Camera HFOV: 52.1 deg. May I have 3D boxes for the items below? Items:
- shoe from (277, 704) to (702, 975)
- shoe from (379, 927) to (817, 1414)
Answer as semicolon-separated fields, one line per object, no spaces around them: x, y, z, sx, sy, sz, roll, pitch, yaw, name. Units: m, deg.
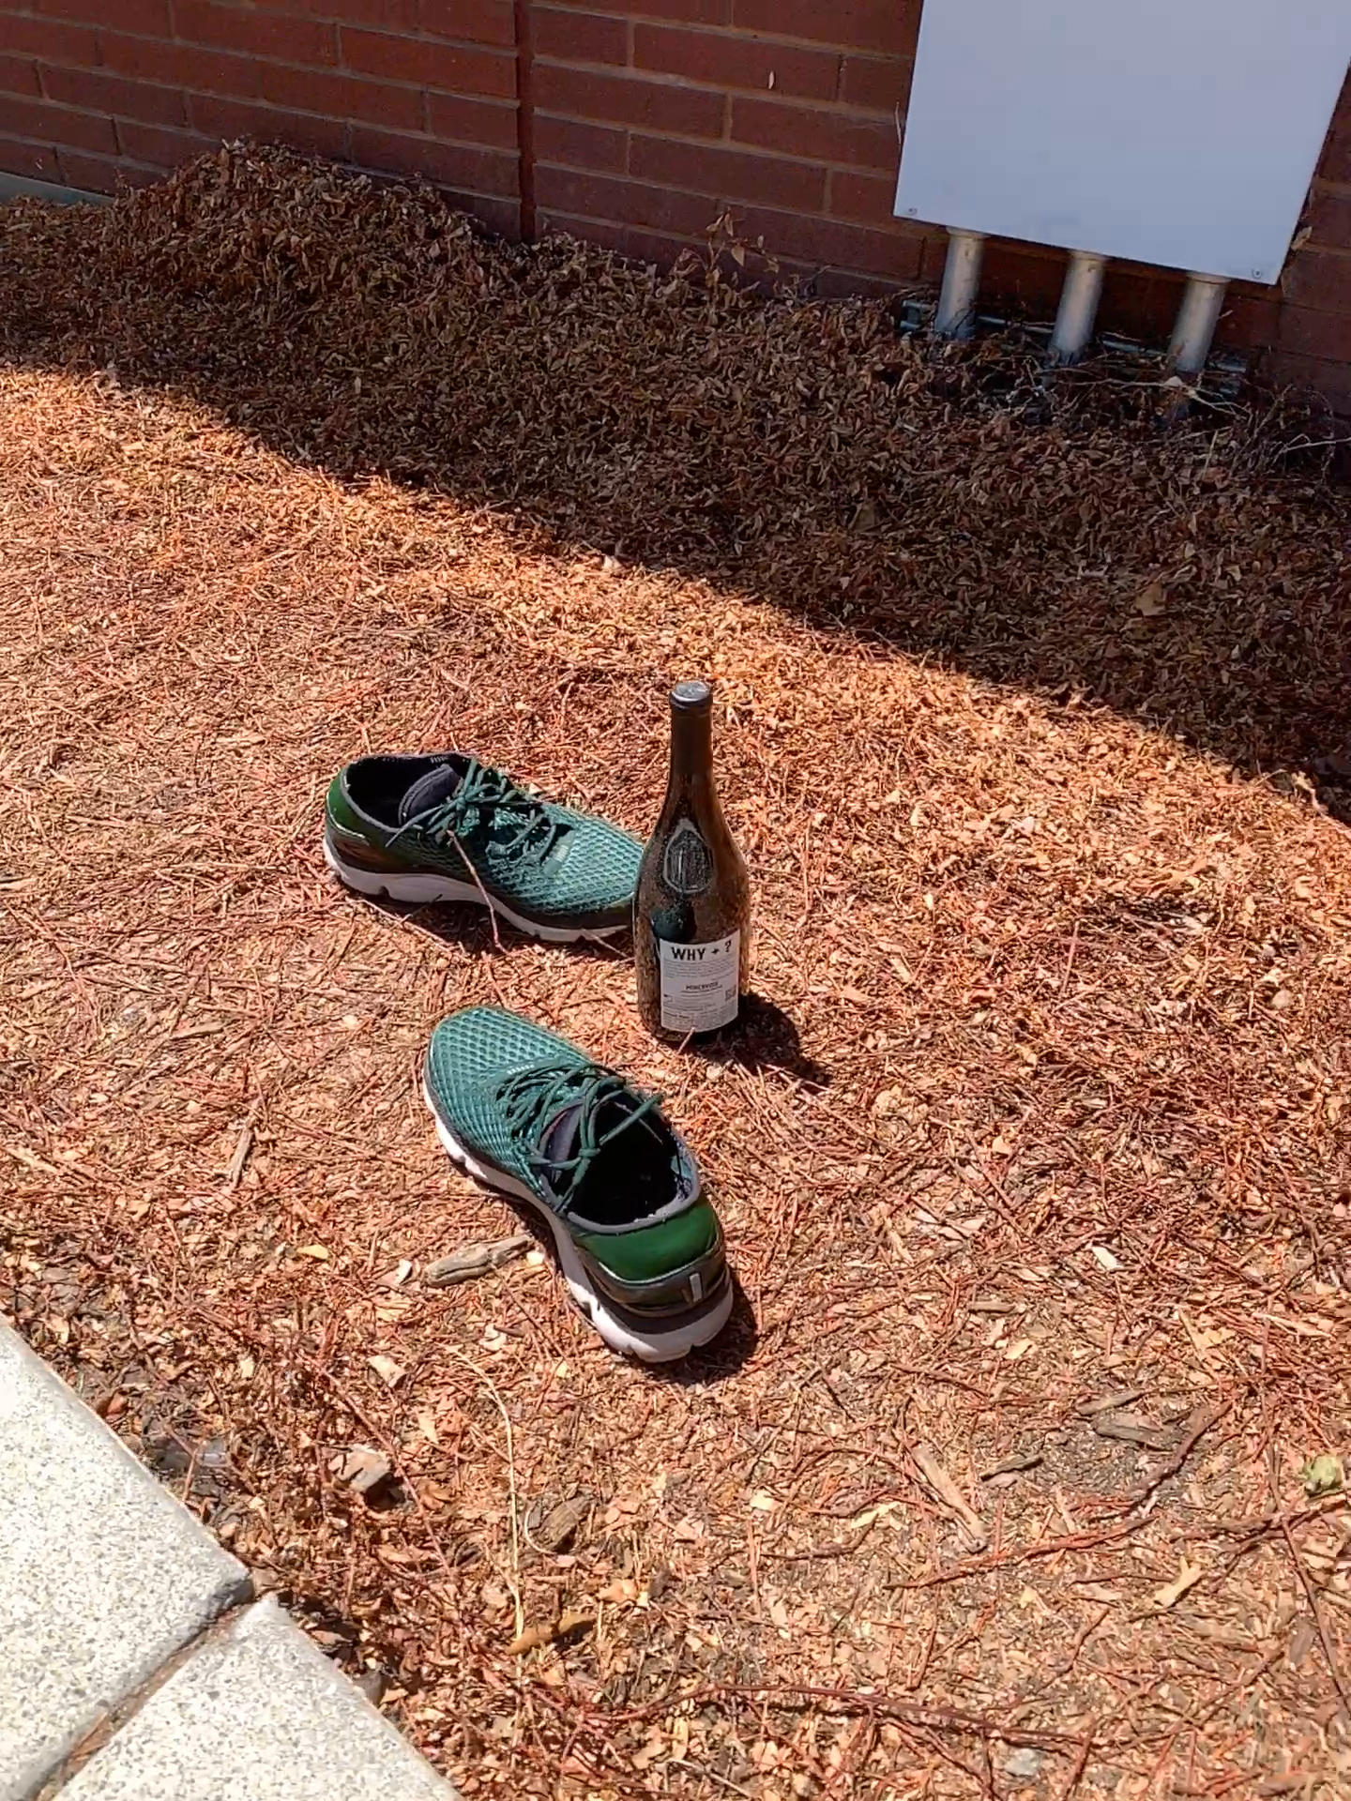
-0.143;-0.052;1.103;0.300;0.099;0.131;12;44;9;shoe
-0.058;0.160;0.886;0.120;0.099;0.291;-27;51;-29;shoe
